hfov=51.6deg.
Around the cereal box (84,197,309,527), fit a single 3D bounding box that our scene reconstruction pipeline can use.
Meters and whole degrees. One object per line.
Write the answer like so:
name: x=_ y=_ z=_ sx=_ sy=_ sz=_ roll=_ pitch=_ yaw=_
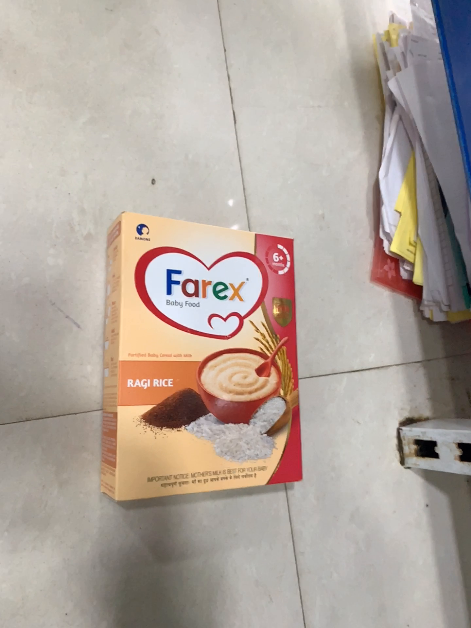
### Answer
cereal box: x=-0.022 y=0.034 z=0.357 sx=0.150 sy=0.050 sz=0.200 roll=6 pitch=79 yaw=-31
